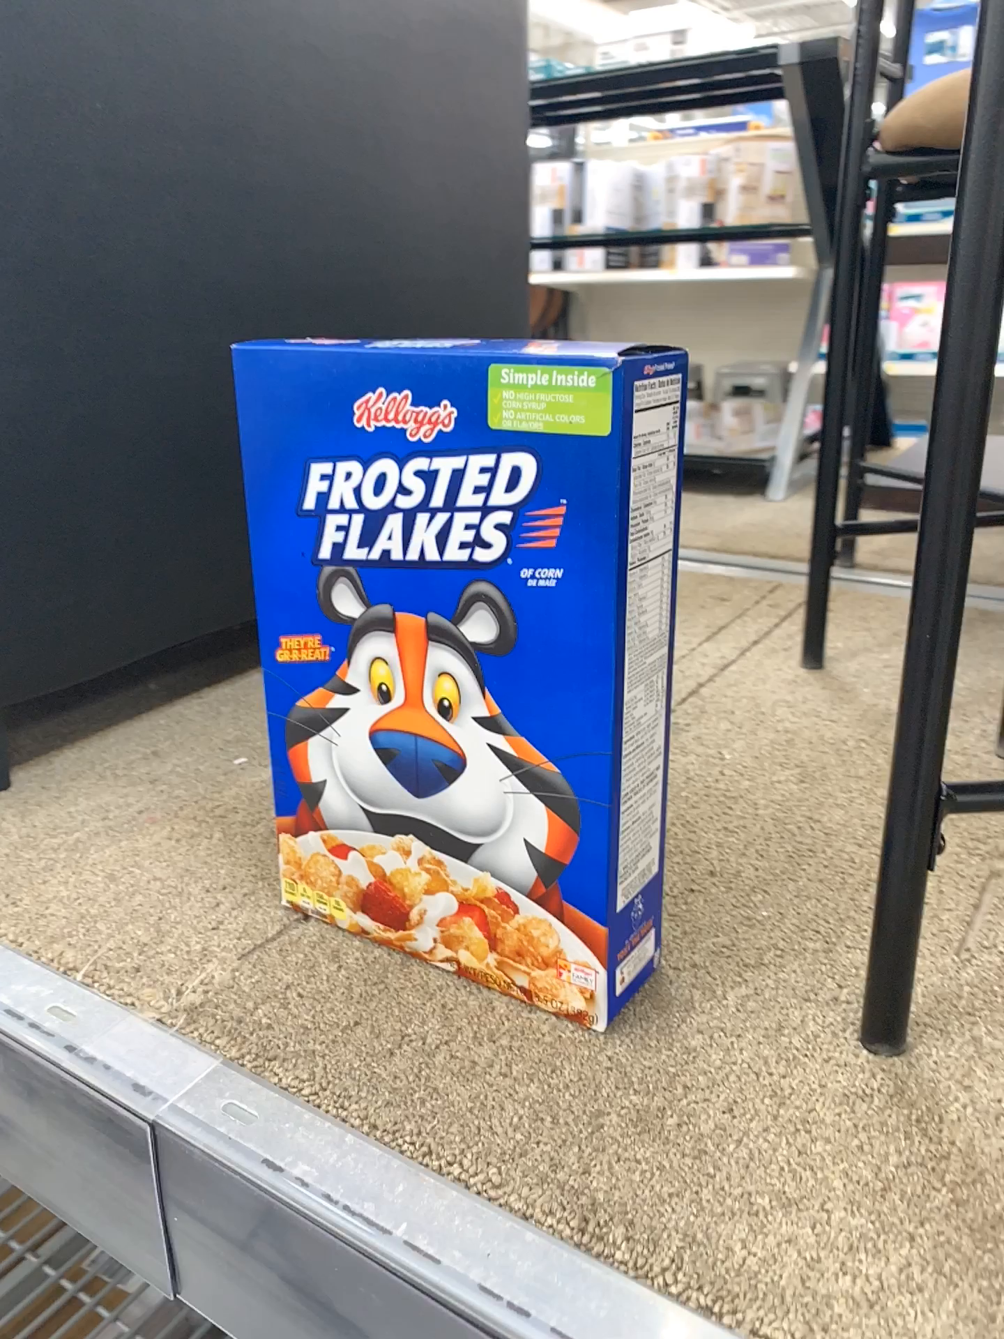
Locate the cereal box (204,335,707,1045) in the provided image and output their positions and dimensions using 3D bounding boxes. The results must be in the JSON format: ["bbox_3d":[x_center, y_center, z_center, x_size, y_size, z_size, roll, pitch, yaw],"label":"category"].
[{"bbox_3d":[-0.023,-0.002,0.483,0.210,0.289,0.070,12,23,32],"label":"cereal box"}]
